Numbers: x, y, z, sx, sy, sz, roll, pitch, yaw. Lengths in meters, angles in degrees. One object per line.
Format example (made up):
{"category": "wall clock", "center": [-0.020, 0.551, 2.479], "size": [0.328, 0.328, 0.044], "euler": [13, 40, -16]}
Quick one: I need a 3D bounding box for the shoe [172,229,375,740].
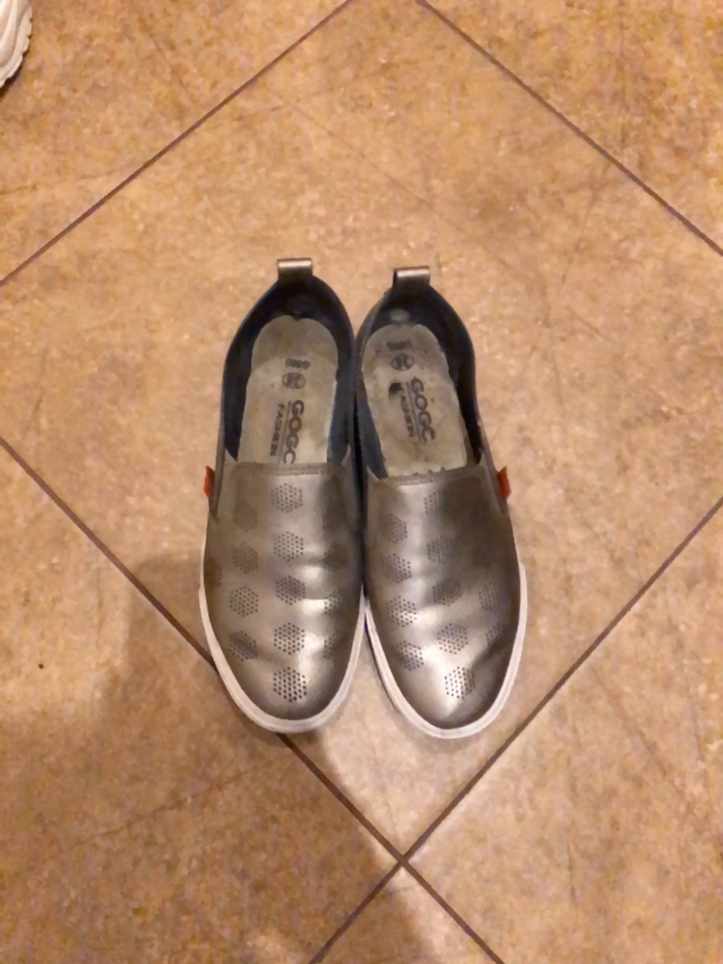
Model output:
{"category": "shoe", "center": [-0.043, 0.003, 0.433], "size": [0.090, 0.100, 0.250], "euler": [0, 77, -3]}

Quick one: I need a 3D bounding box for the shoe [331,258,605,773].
{"category": "shoe", "center": [0.045, 0.019, 0.433], "size": [0.100, 0.110, 0.240], "euler": [-5, 77, -4]}
